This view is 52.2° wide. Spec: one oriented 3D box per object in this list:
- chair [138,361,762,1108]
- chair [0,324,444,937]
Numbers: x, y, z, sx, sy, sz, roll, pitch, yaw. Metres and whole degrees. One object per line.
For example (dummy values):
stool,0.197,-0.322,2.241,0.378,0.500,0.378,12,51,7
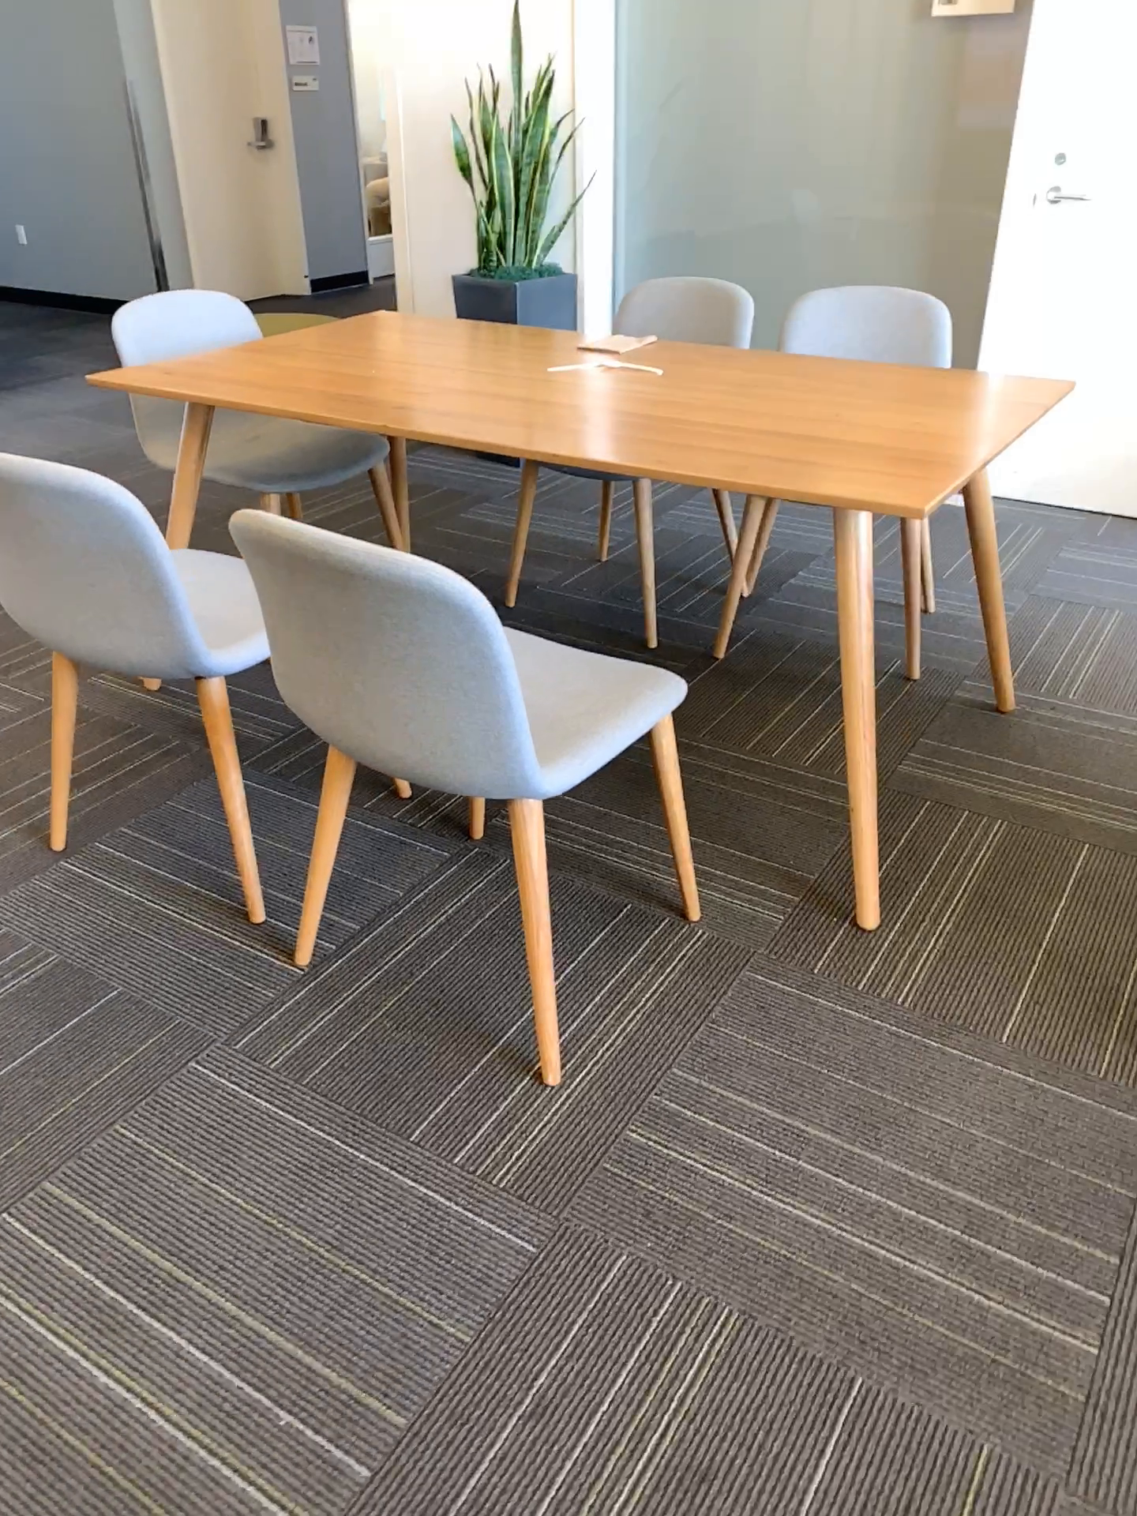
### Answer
chair,-0.118,-0.077,1.699,0.571,0.805,0.582,16,36,26
chair,-0.642,-0.252,2.008,0.571,0.805,0.583,13,34,22
